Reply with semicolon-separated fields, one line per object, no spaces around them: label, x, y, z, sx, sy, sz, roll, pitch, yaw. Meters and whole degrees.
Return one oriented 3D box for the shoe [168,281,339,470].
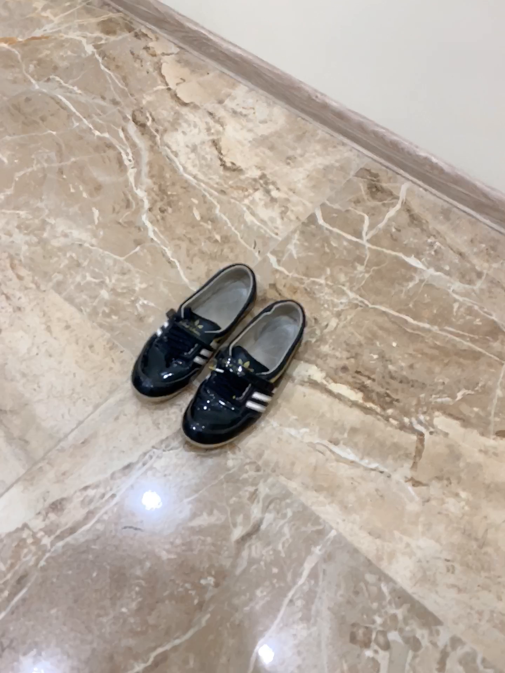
shoe;0.007;0.044;0.674;0.095;0.060;0.241;33;63;15

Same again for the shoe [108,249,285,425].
shoe;-0.069;-0.006;0.700;0.095;0.060;0.240;36;64;16
